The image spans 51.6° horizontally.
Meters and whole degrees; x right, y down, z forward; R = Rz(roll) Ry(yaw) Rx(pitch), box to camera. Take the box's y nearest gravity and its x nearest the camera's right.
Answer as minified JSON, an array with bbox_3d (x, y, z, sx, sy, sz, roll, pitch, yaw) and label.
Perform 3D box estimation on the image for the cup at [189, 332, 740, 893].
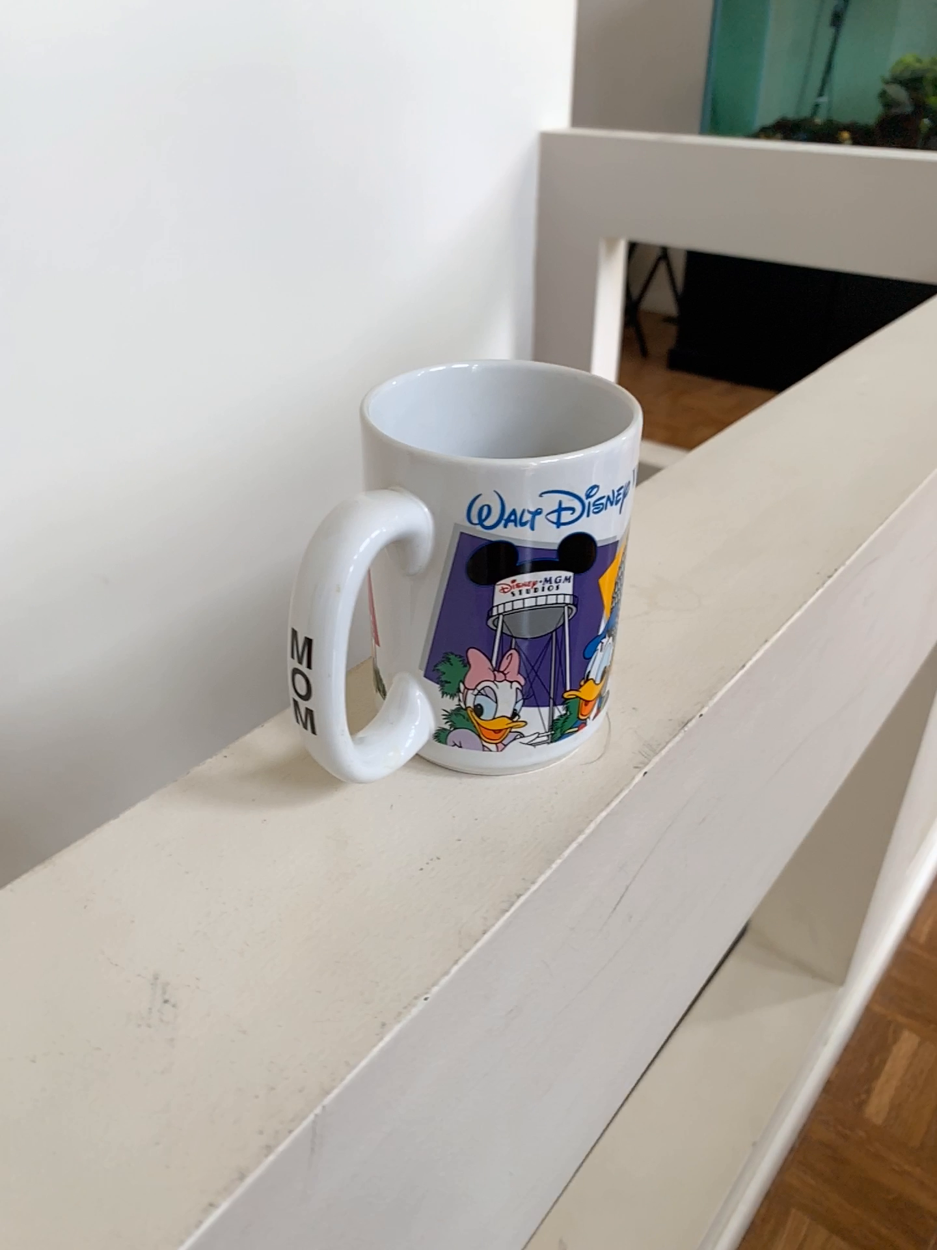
[{"bbox_3d":[0.004,-0.015,0.303,0.080,0.109,0.140,28,41,37],"label":"cup"}]
